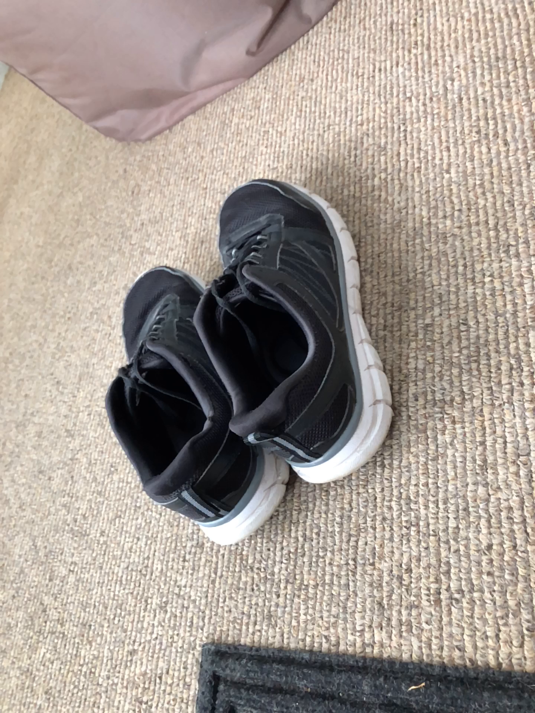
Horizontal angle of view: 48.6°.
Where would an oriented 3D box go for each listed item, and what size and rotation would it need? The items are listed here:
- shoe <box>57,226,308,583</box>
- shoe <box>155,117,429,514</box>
[{"bbox_3d":[-0.088,0.028,0.506,0.118,0.100,0.277,-41,46,16],"label":"shoe"},{"bbox_3d":[0.003,-0.040,0.467,0.120,0.110,0.277,-33,48,23],"label":"shoe"}]
